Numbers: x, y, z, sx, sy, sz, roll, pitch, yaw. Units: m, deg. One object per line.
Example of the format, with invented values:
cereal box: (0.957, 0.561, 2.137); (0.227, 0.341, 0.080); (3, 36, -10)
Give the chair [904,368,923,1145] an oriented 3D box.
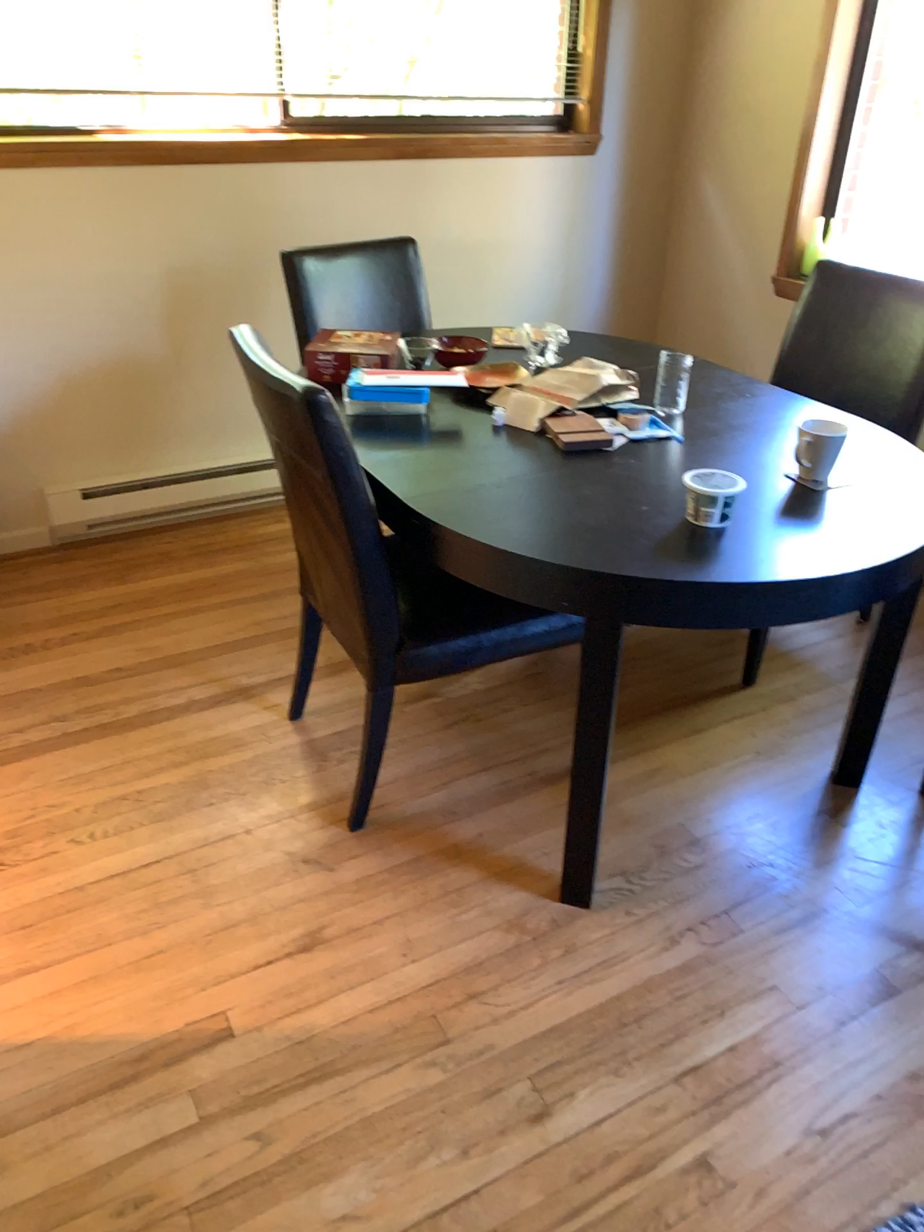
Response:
chair: (1.298, 0.219, 1.638); (0.651, 1.084, 0.623); (9, 31, 12)
